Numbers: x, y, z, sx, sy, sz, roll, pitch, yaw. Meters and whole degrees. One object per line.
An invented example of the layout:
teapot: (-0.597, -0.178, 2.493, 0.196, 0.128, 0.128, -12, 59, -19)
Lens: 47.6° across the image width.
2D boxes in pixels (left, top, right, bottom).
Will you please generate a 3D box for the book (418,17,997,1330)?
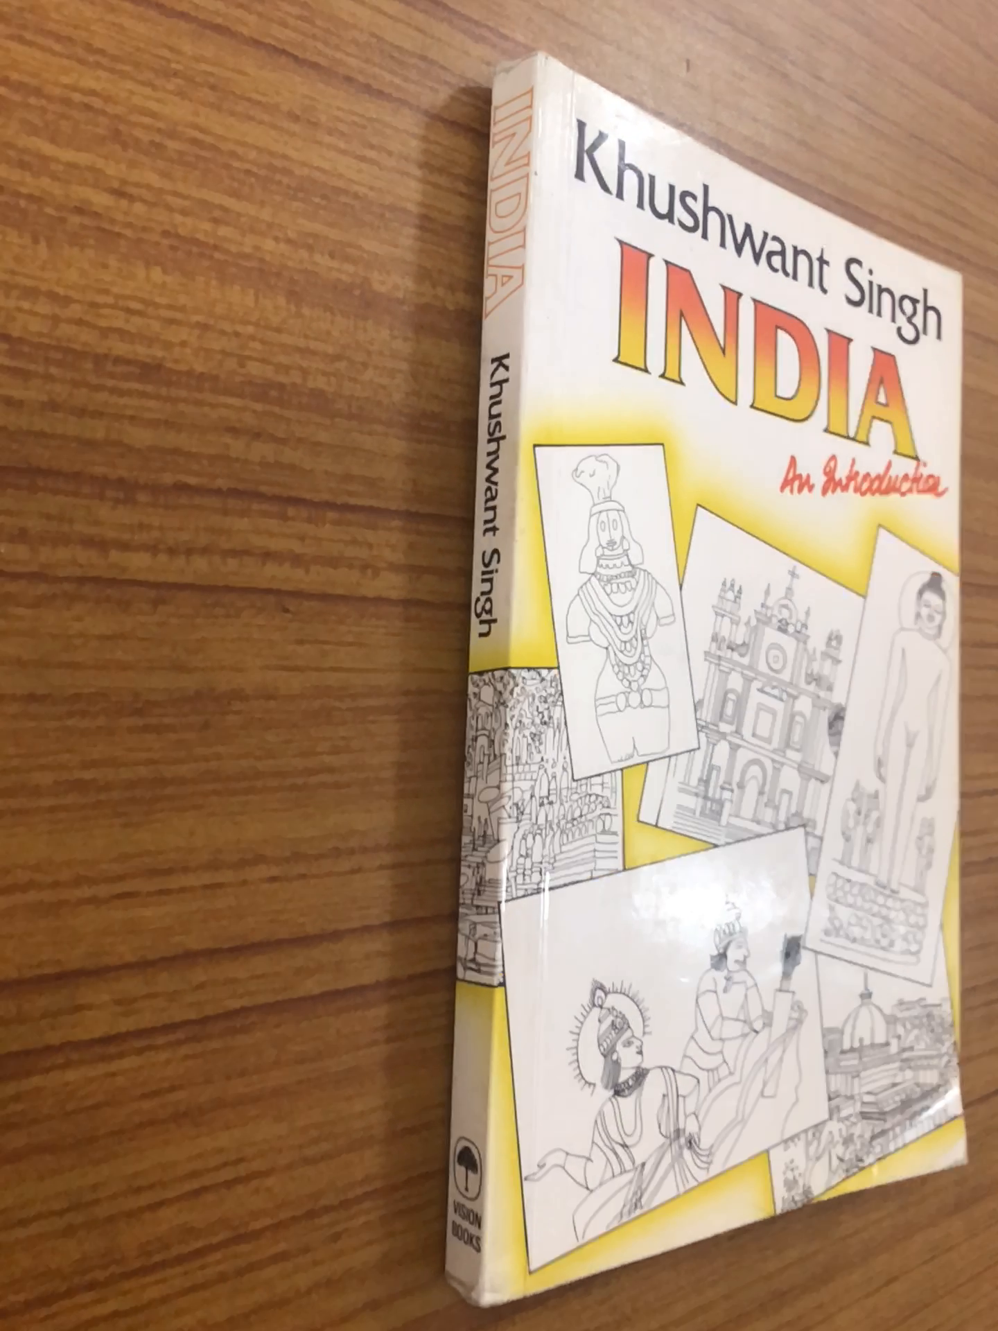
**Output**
book: (0.052, 0.004, 0.213, 0.141, 0.020, 0.190, 6, 84, -38)
